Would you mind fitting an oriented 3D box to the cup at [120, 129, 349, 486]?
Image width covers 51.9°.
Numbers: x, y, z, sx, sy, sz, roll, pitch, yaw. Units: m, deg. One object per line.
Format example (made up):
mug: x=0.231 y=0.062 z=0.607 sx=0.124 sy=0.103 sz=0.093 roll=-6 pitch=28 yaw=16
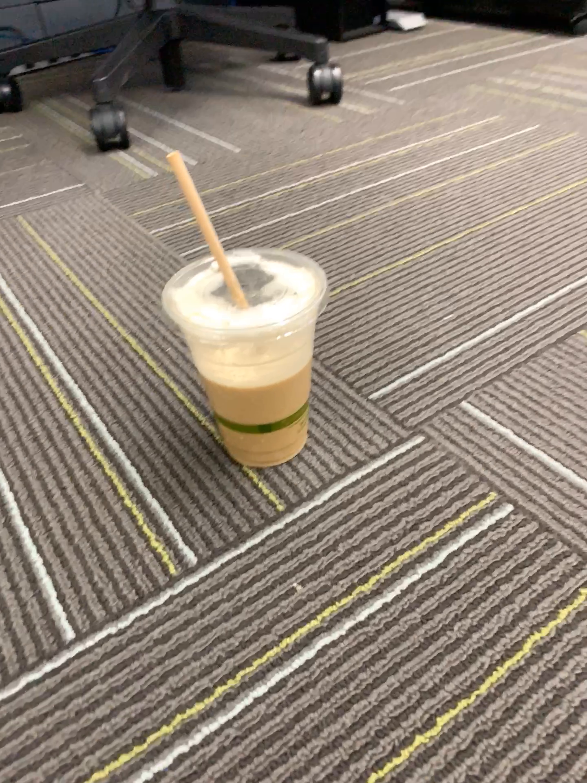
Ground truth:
cup: x=-0.026 y=-0.045 z=0.361 sx=0.100 sy=0.179 sz=0.091 roll=-8 pitch=39 yaw=-3
